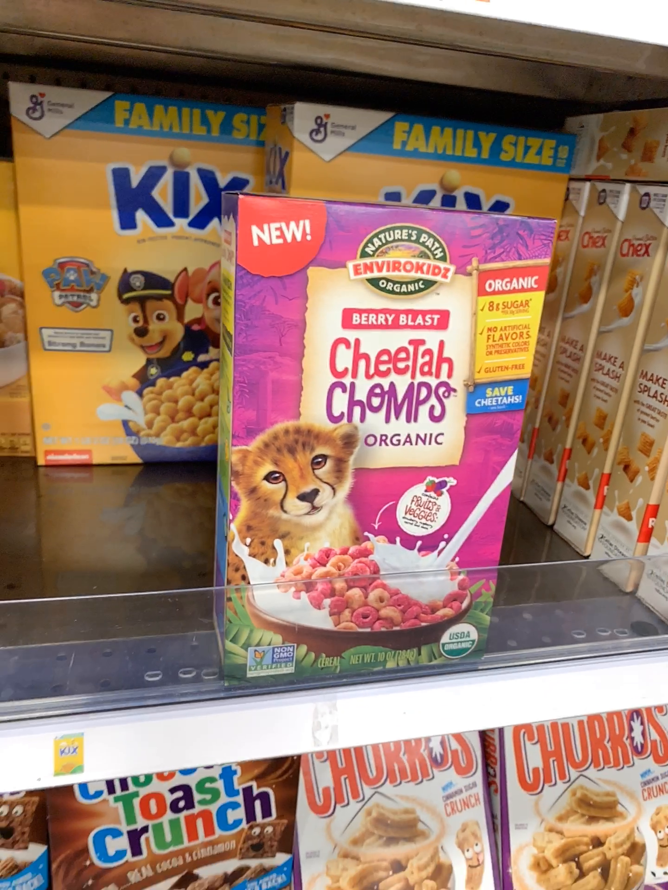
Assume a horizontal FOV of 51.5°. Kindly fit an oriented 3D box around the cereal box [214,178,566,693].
[{"bbox_3d":[0.018,0.001,0.389,0.160,0.269,0.060,0,19,-14],"label":"cereal box"}]
